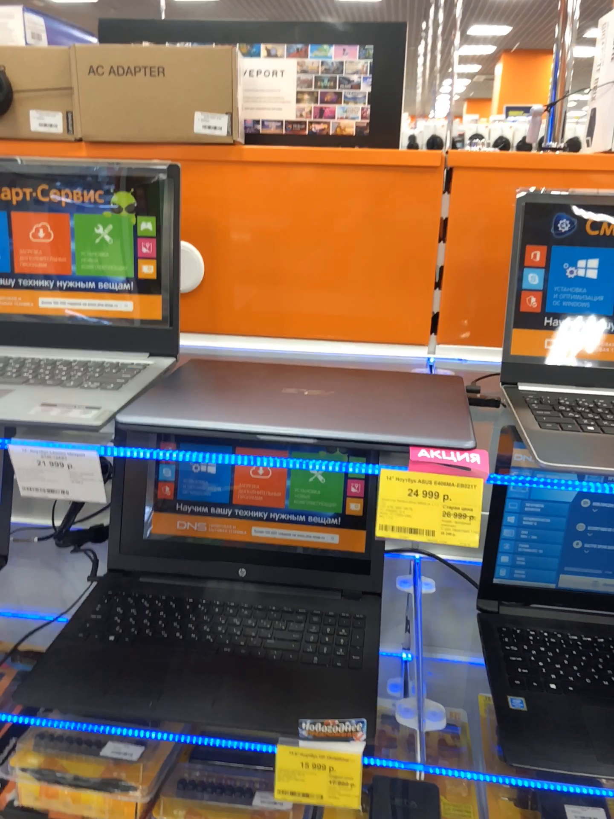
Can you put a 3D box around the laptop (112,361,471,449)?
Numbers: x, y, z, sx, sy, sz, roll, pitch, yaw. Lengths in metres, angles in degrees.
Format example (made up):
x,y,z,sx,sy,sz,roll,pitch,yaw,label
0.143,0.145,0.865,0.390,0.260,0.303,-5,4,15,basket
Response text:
x,y,z,sx,sy,sz,roll,pitch,yaw,label
-0.002,-0.012,0.698,0.324,0.001,0.214,4,19,8,laptop

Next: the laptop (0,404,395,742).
x,y,z,sx,sy,sz,roll,pitch,yaw,label
-0.096,0.159,0.797,0.376,0.227,0.314,3,19,8,laptop

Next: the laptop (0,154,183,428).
x,y,z,sx,sy,sz,roll,pitch,yaw,label
-0.346,-0.148,0.727,0.353,0.225,0.290,3,19,6,laptop

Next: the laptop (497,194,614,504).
x,y,z,sx,sy,sz,roll,pitch,yaw,label
0.380,-0.083,0.631,0.336,0.205,0.272,4,19,6,laptop
